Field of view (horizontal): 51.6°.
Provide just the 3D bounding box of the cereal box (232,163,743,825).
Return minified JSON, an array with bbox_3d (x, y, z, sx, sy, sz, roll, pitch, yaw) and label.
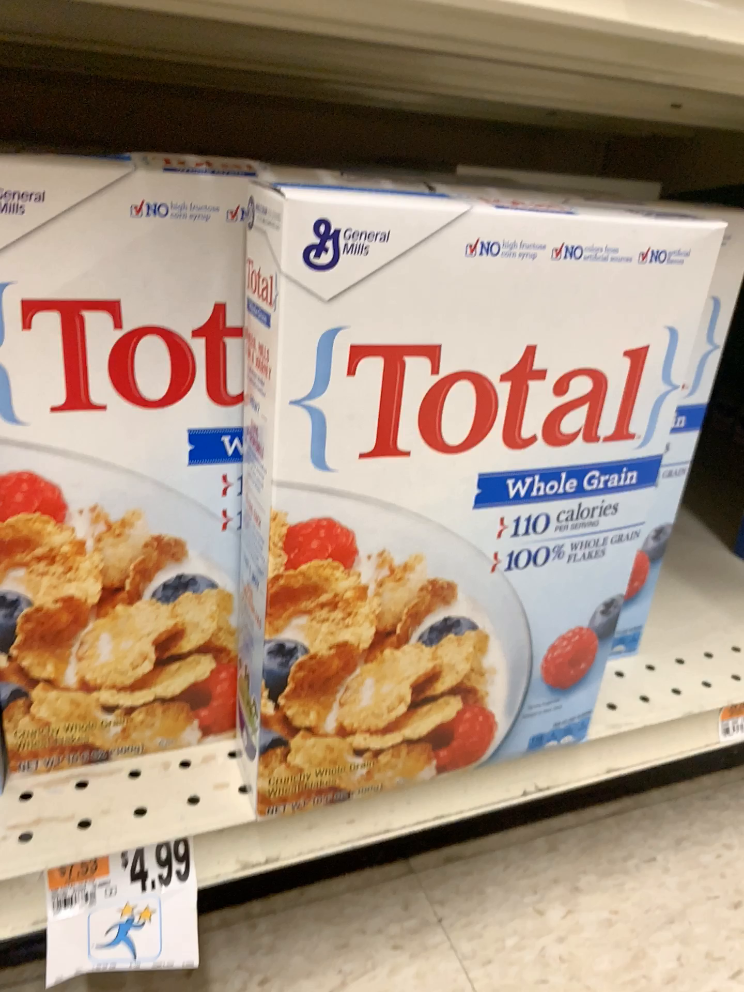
[{"bbox_3d":[0.042,0.008,0.354,0.200,0.279,0.050,-5,27,-21],"label":"cereal box"}]
